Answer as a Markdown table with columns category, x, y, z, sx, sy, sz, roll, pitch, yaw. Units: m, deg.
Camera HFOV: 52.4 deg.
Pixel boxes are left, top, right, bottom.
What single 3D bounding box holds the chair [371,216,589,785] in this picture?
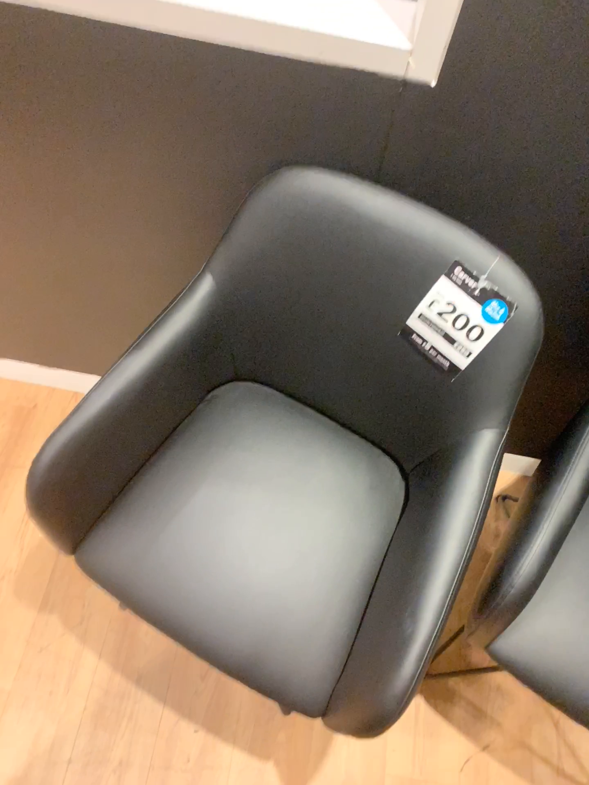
| category | x | y | z | sx | sy | sz | roll | pitch | yaw |
| --- | --- | --- | --- | --- | --- | --- | --- | --- | --- |
| chair | 0.582 | 0.316 | 0.979 | 0.563 | 0.840 | 0.594 | 26 | 61 | 9 |

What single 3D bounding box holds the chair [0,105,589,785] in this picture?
| category | x | y | z | sx | sy | sz | roll | pitch | yaw |
| --- | --- | --- | --- | --- | --- | --- | --- | --- | --- |
| chair | -0.035 | 0.146 | 0.984 | 0.604 | 0.780 | 0.593 | 29 | 61 | 10 |
